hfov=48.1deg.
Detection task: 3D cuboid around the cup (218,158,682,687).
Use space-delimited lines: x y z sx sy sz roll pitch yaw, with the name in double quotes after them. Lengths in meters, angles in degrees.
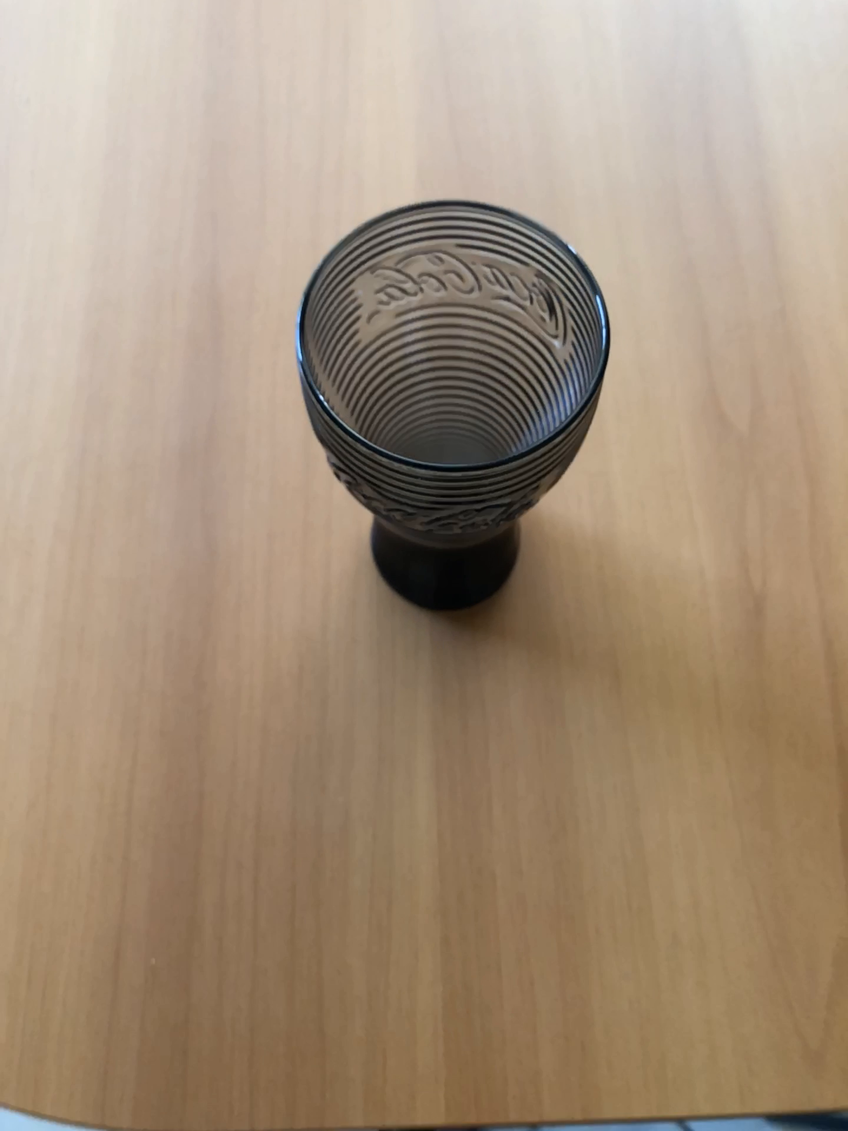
0.007 -0.032 0.290 0.080 0.130 0.080 0 70 0 "cup"
